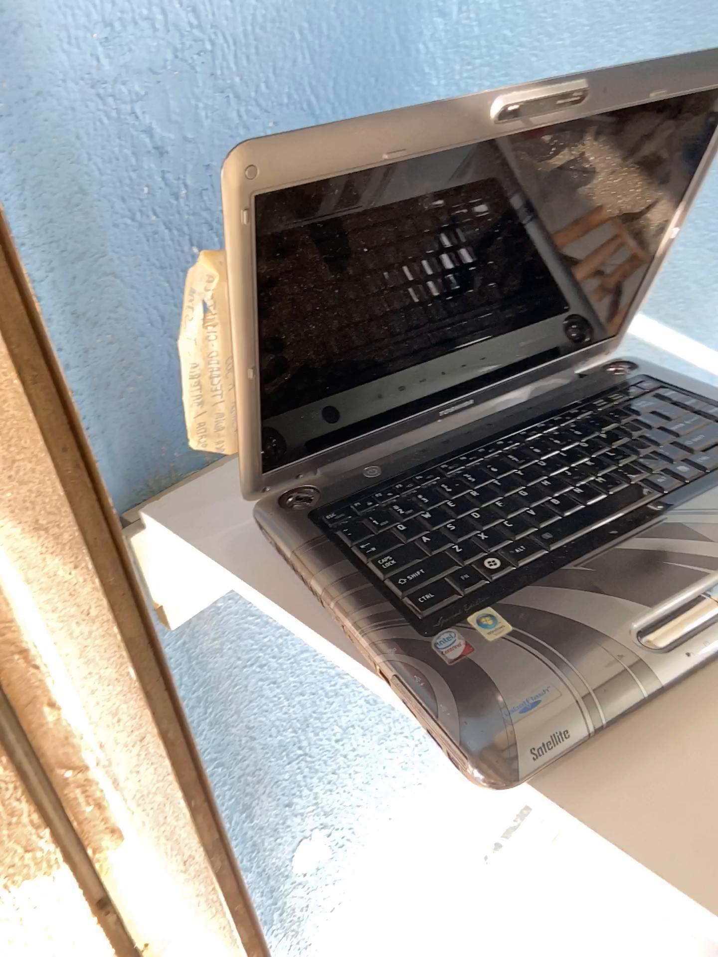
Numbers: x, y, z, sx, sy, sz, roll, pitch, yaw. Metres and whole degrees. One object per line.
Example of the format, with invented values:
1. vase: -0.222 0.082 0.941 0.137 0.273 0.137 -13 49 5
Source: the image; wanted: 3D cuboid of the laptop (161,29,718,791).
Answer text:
1. laptop: 0.130 -0.086 0.414 0.359 0.235 0.259 -22 34 -22
